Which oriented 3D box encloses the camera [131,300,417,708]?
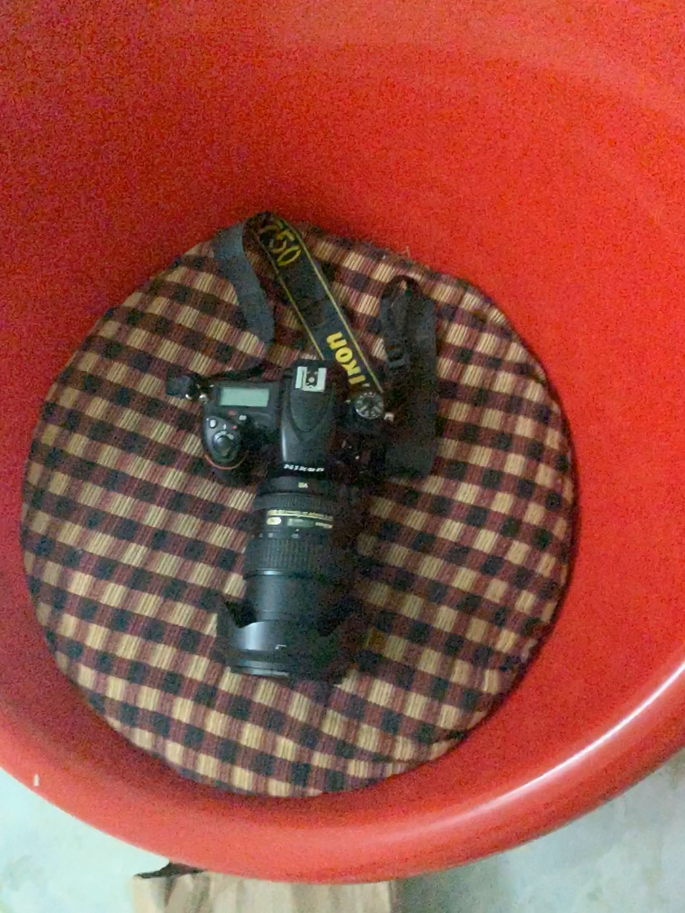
[{"bbox_3d":[-0.037,0.040,0.538,0.160,0.180,0.252,4,79,3],"label":"camera"}]
